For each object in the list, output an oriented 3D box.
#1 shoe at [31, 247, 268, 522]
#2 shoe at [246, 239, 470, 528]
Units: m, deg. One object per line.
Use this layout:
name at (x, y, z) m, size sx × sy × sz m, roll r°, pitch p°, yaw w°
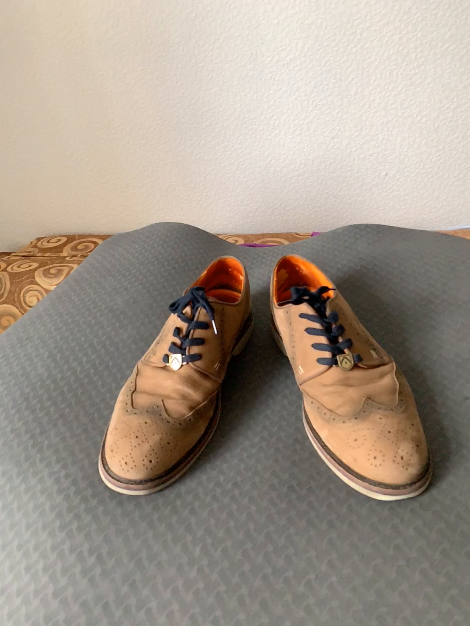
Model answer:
shoe at (-0.062, 0.048, 0.514) m, size 0.110 × 0.089 × 0.301 m, roll 7°, pitch 39°, yaw 19°
shoe at (0.108, 0.042, 0.481) m, size 0.110 × 0.089 × 0.292 m, roll -14°, pitch 37°, yaw -8°
